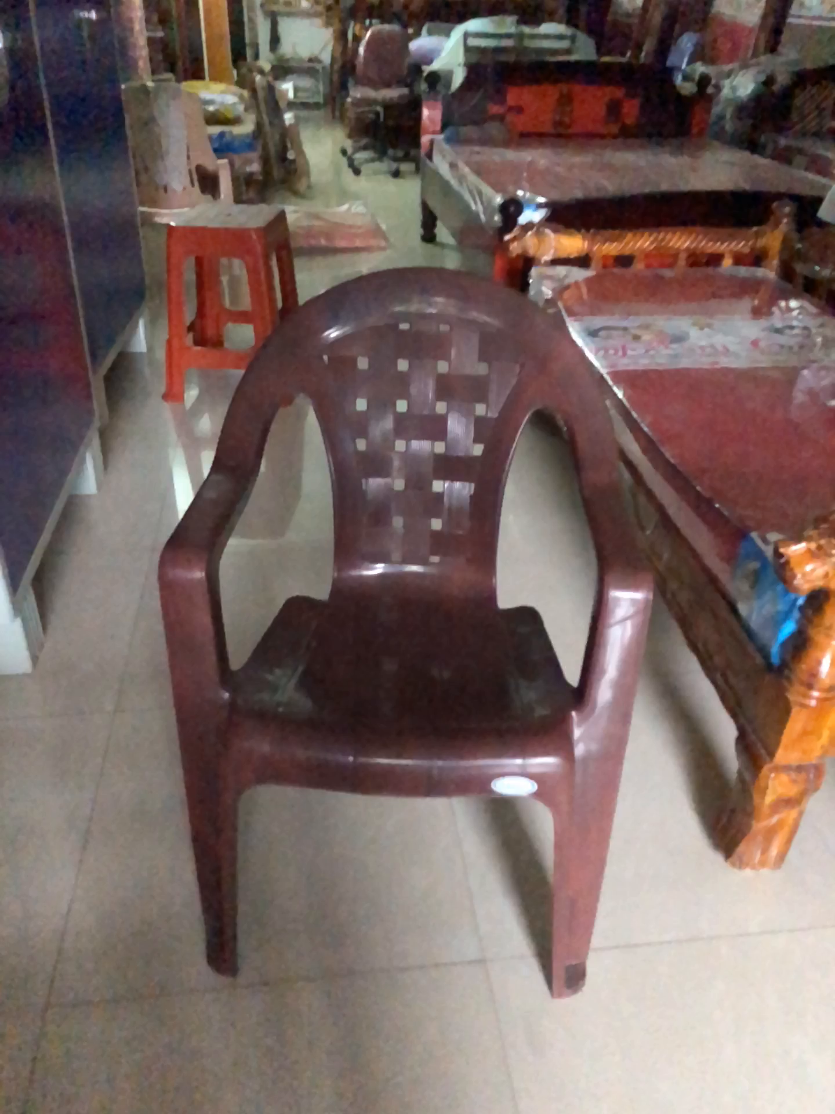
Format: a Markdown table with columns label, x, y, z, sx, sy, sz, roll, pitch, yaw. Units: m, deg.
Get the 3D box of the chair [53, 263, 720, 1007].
| label | x | y | z | sx | sy | sz | roll | pitch | yaw |
| --- | --- | --- | --- | --- | --- | --- | --- | --- | --- |
| chair | -0.032 | 0.092 | 1.293 | 0.600 | 0.835 | 0.613 | 2 | 31 | 0 |
